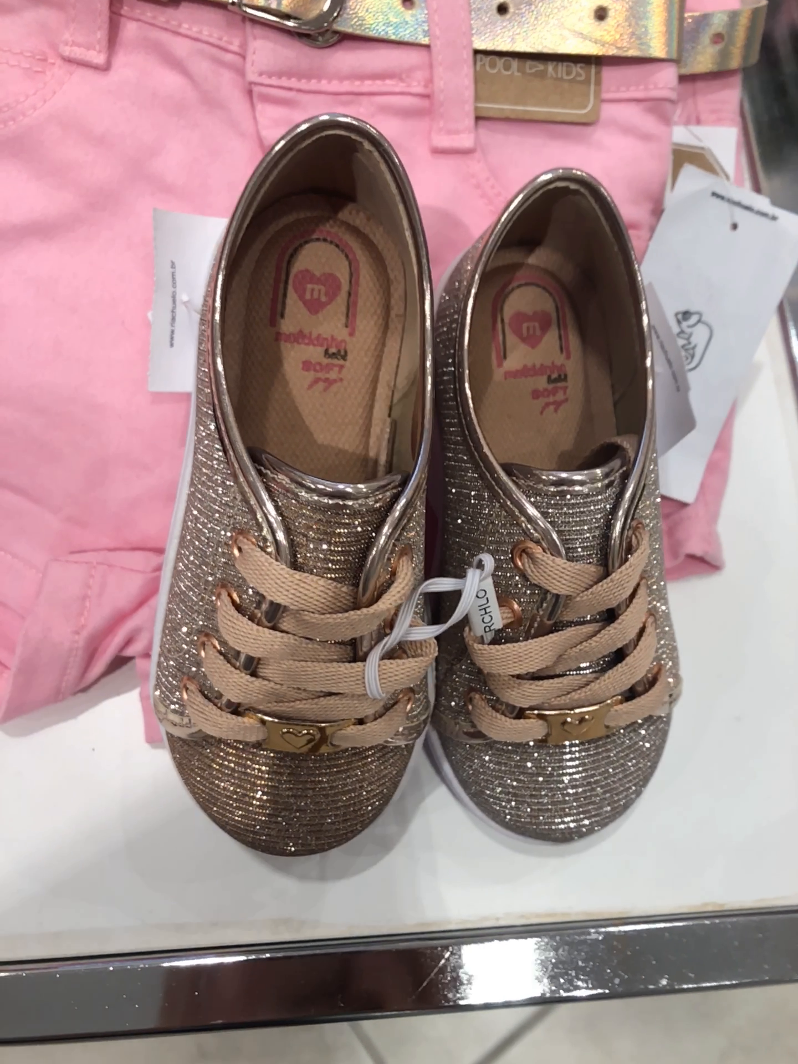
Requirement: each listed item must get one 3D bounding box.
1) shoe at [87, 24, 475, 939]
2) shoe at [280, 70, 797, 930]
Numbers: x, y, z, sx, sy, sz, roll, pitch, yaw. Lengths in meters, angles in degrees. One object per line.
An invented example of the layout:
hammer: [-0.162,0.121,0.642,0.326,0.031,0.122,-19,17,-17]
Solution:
shoe: [-0.024,-0.009,0.209,0.070,0.080,0.170,0,94,-4]
shoe: [0.025,-0.008,0.226,0.080,0.080,0.170,-9,84,-7]
